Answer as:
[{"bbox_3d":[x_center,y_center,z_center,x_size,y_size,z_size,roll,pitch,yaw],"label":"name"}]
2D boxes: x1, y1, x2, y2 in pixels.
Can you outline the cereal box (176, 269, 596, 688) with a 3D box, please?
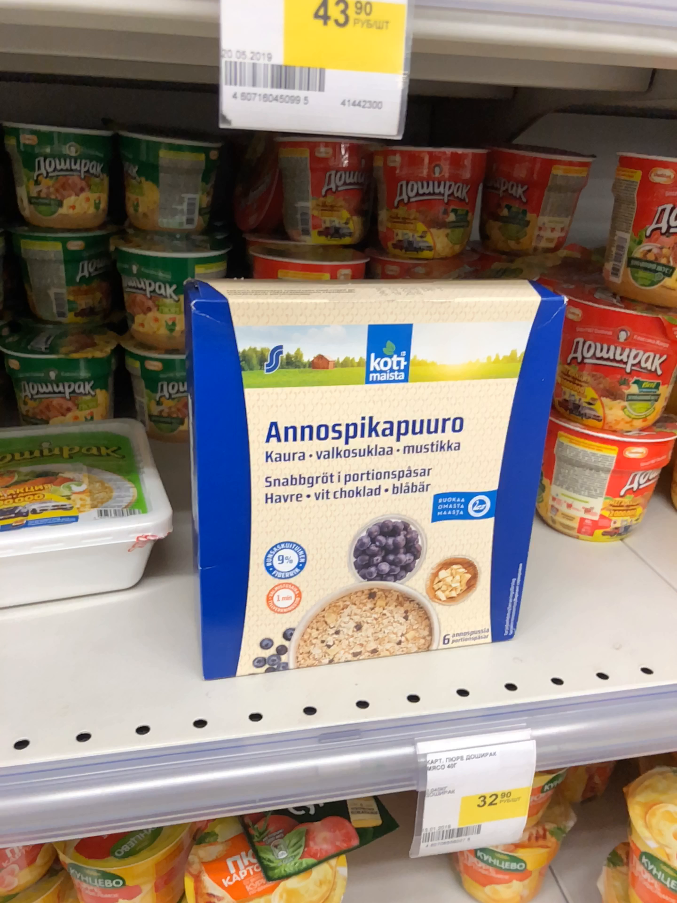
[{"bbox_3d":[0.016,0.011,0.350,0.170,0.179,0.050,-4,23,-14],"label":"cereal box"}]
